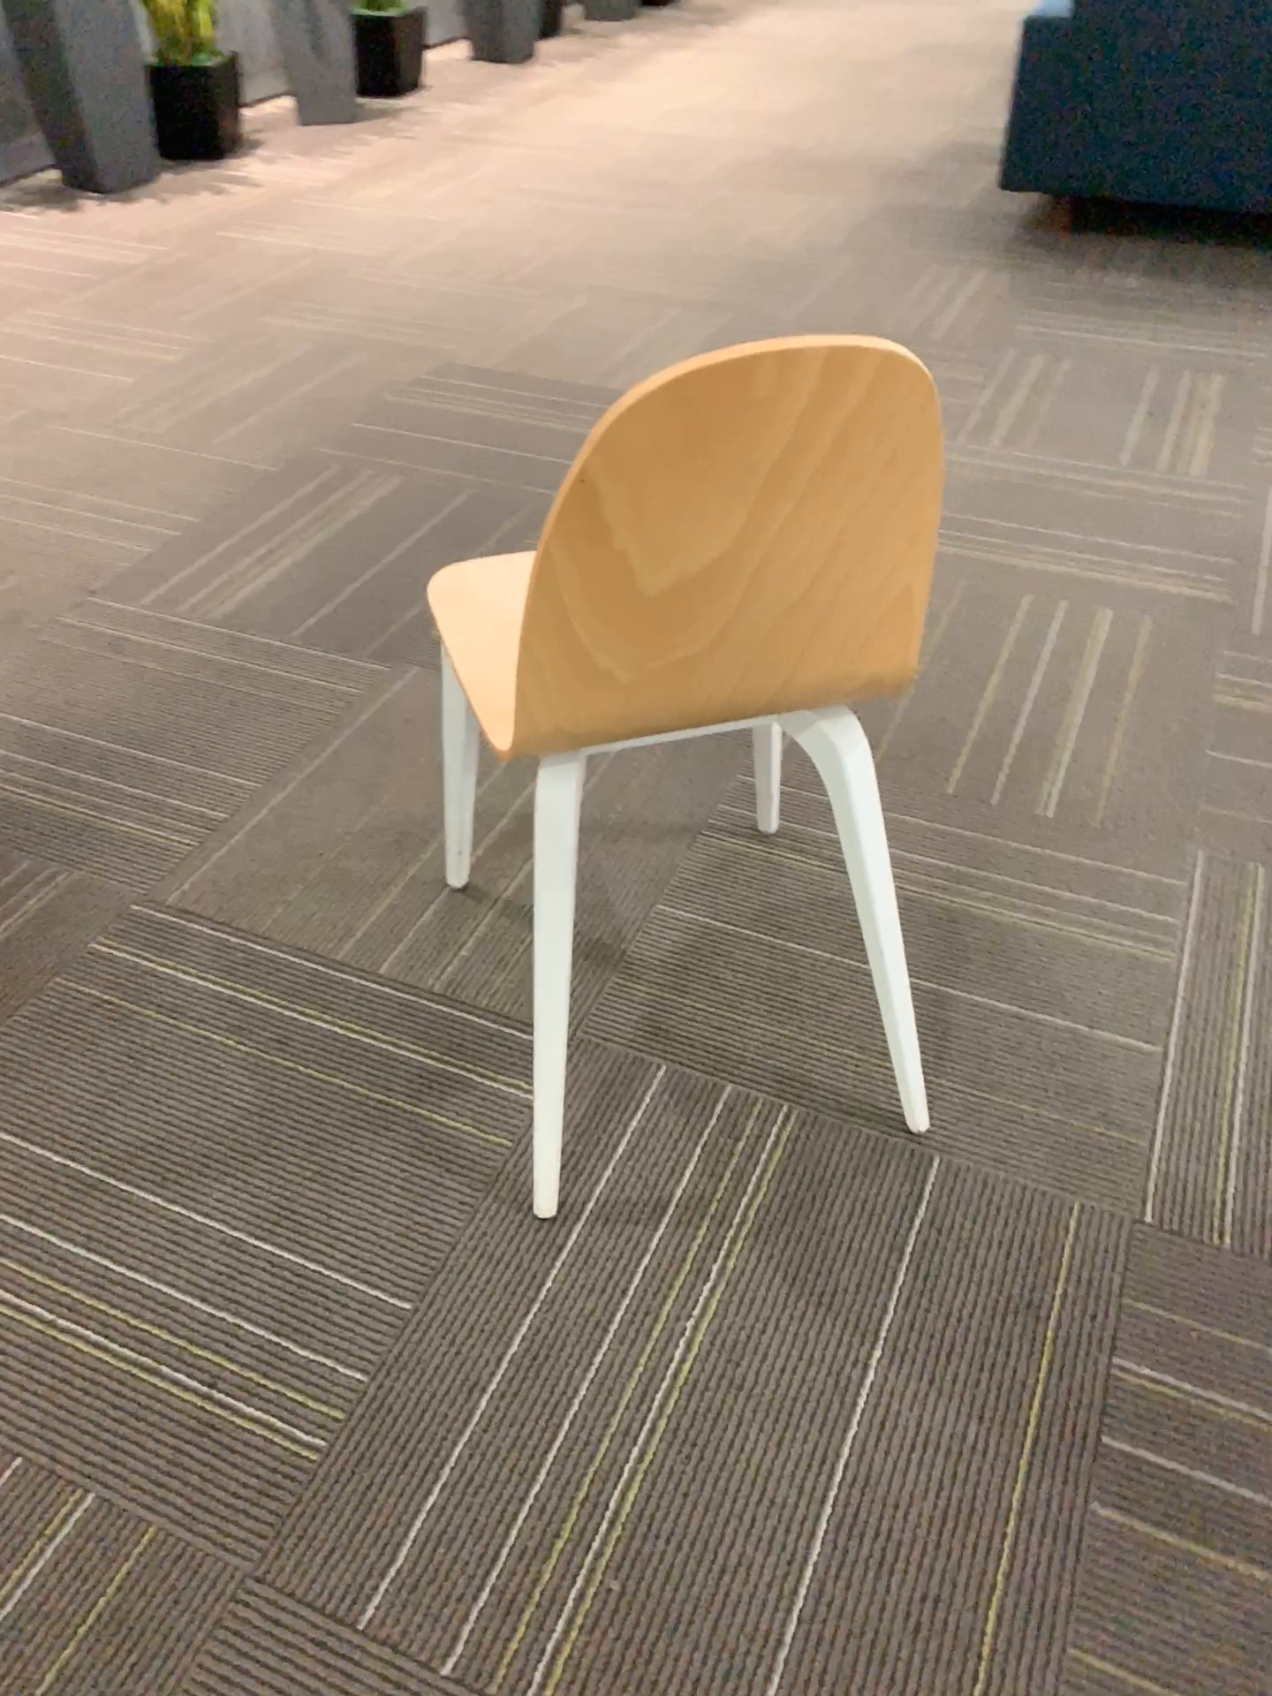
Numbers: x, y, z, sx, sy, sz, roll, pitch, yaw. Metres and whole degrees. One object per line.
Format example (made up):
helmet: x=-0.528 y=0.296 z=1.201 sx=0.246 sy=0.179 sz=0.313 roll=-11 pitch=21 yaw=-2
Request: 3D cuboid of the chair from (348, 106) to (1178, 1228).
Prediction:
chair: x=0.043 y=-0.169 z=1.231 sx=0.460 sy=0.825 sz=0.574 roll=-10 pitch=41 yaw=-11
